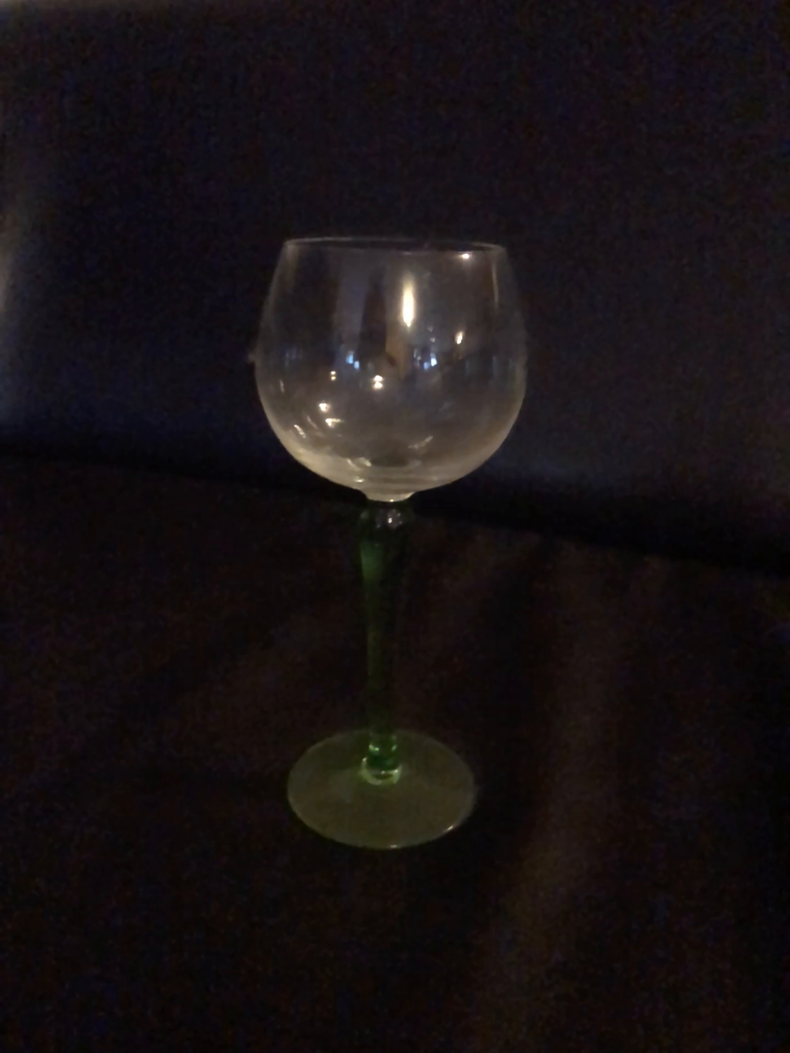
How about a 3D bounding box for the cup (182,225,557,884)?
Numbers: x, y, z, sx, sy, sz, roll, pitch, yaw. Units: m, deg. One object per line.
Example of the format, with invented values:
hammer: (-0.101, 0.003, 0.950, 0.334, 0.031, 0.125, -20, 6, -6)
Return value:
cup: (-0.006, 0.001, 0.285, 0.080, 0.185, 0.080, 1, 19, 0)
